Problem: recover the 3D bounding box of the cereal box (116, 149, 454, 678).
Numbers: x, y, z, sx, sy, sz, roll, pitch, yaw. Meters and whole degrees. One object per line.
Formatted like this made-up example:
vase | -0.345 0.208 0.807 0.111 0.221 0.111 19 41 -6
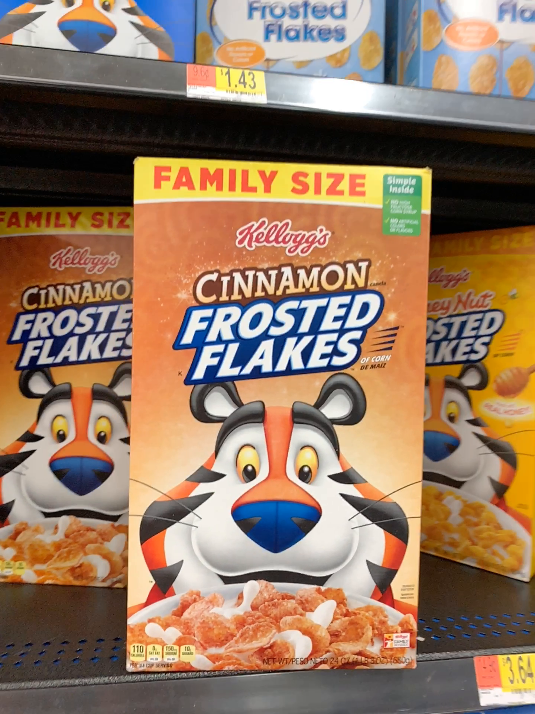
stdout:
cereal box | 0.010 0.040 0.398 0.210 0.340 0.070 2 1 -4
